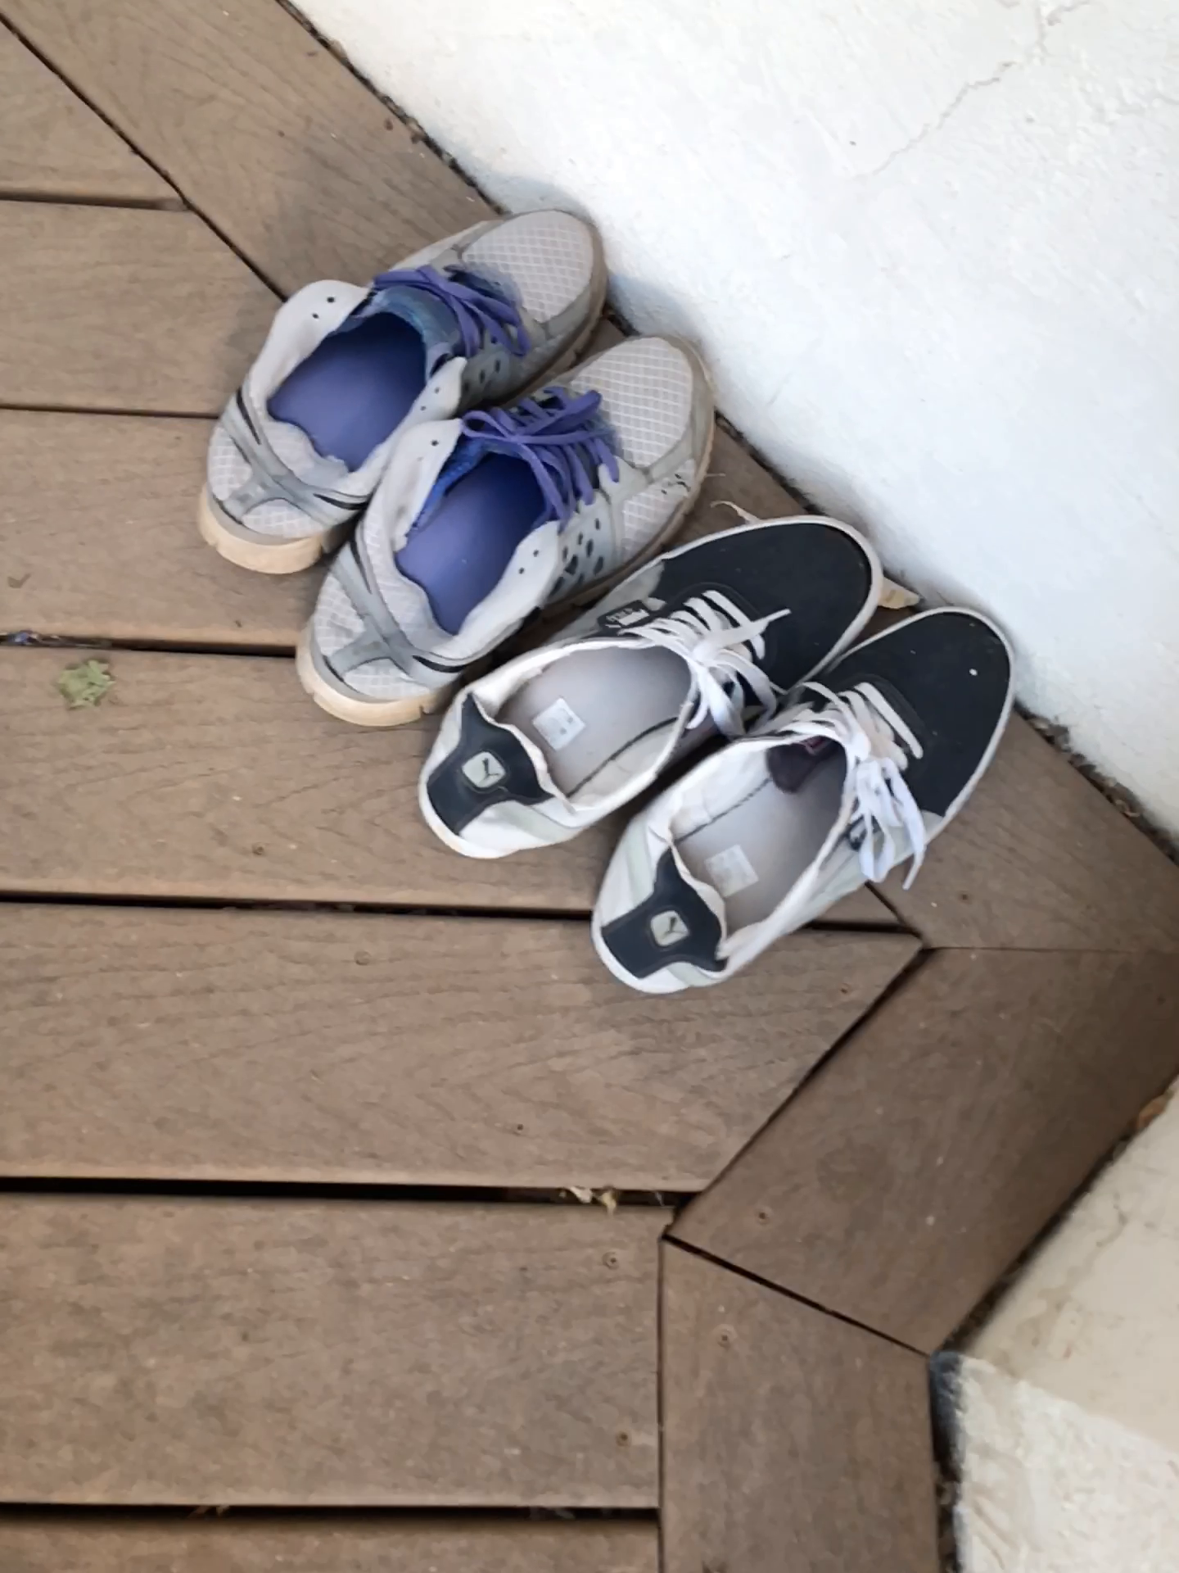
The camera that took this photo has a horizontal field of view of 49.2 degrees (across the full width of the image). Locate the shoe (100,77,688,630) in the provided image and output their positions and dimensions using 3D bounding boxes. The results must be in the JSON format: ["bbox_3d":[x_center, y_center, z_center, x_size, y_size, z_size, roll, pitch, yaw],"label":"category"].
[{"bbox_3d":[-0.103,-0.252,0.751,0.320,0.100,0.120,-43,81,-14],"label":"shoe"}]

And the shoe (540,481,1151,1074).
[{"bbox_3d":[0.137,-0.005,0.708,0.330,0.100,0.120,-42,81,-14],"label":"shoe"}]

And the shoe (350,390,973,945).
[{"bbox_3d":[0.040,-0.066,0.711,0.320,0.100,0.120,-37,79,-13],"label":"shoe"}]

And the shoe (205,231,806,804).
[{"bbox_3d":[-0.041,-0.151,0.724,0.320,0.100,0.120,-43,81,-14],"label":"shoe"}]
